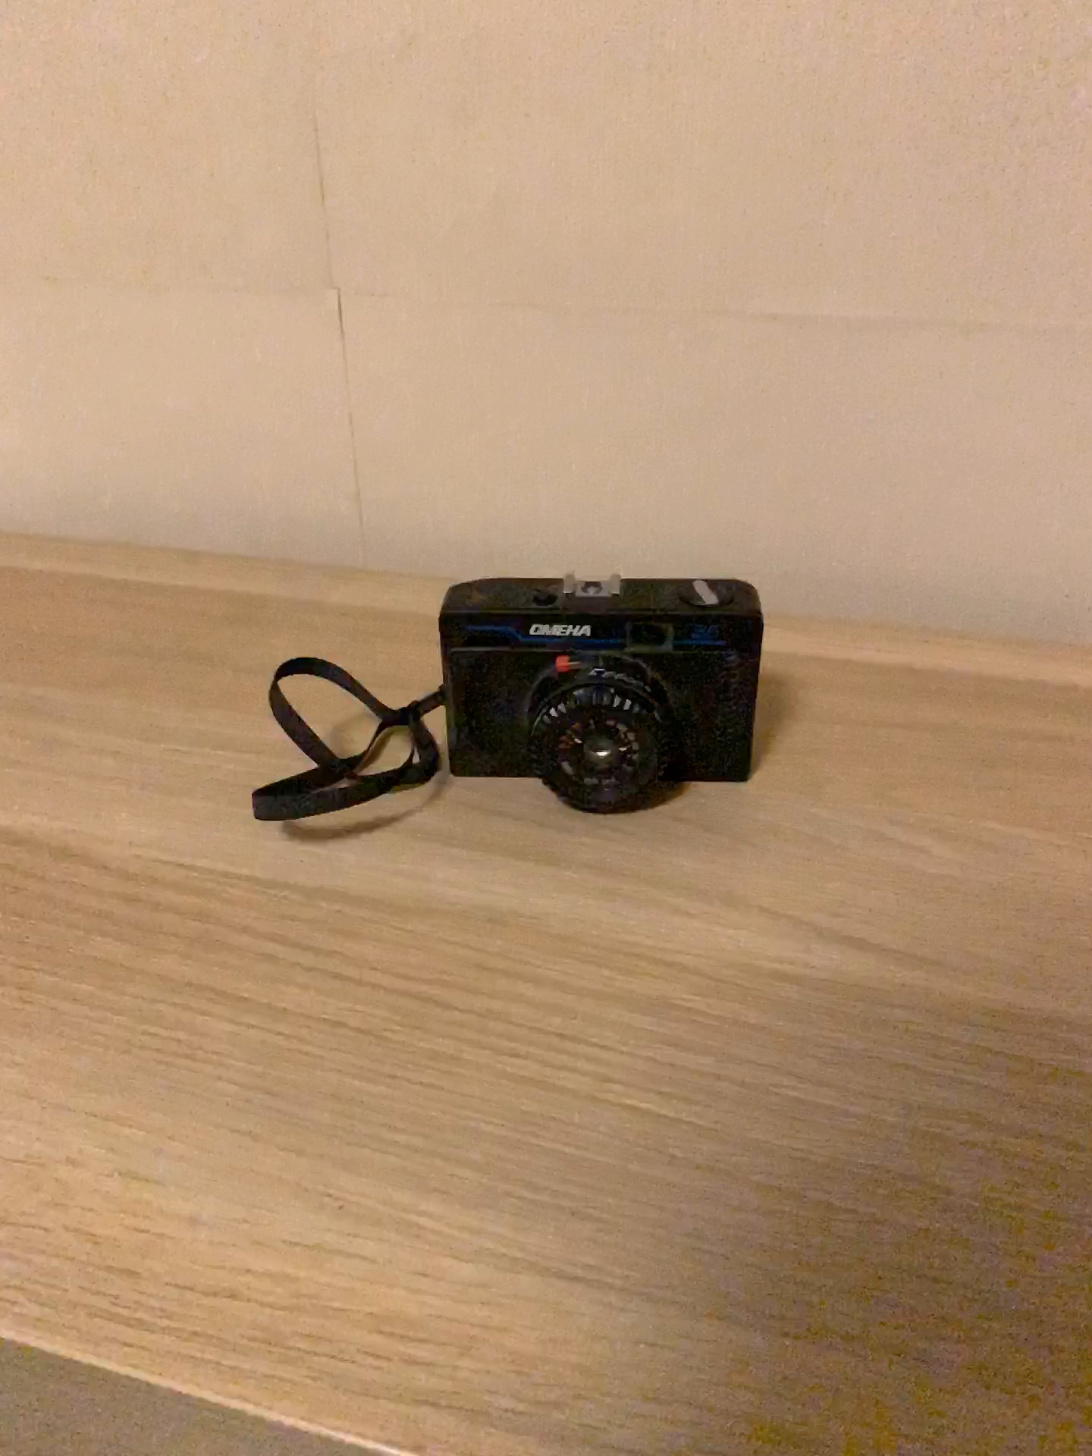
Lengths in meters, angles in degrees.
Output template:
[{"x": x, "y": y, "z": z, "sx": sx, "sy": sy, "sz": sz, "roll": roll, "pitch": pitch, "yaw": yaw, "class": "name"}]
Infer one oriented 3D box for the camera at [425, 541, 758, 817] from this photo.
[{"x": 0.017, "y": -0.017, "z": 0.412, "sx": 0.110, "sy": 0.089, "sz": 0.040, "roll": 2, "pitch": 34, "yaw": 4, "class": "camera"}]
